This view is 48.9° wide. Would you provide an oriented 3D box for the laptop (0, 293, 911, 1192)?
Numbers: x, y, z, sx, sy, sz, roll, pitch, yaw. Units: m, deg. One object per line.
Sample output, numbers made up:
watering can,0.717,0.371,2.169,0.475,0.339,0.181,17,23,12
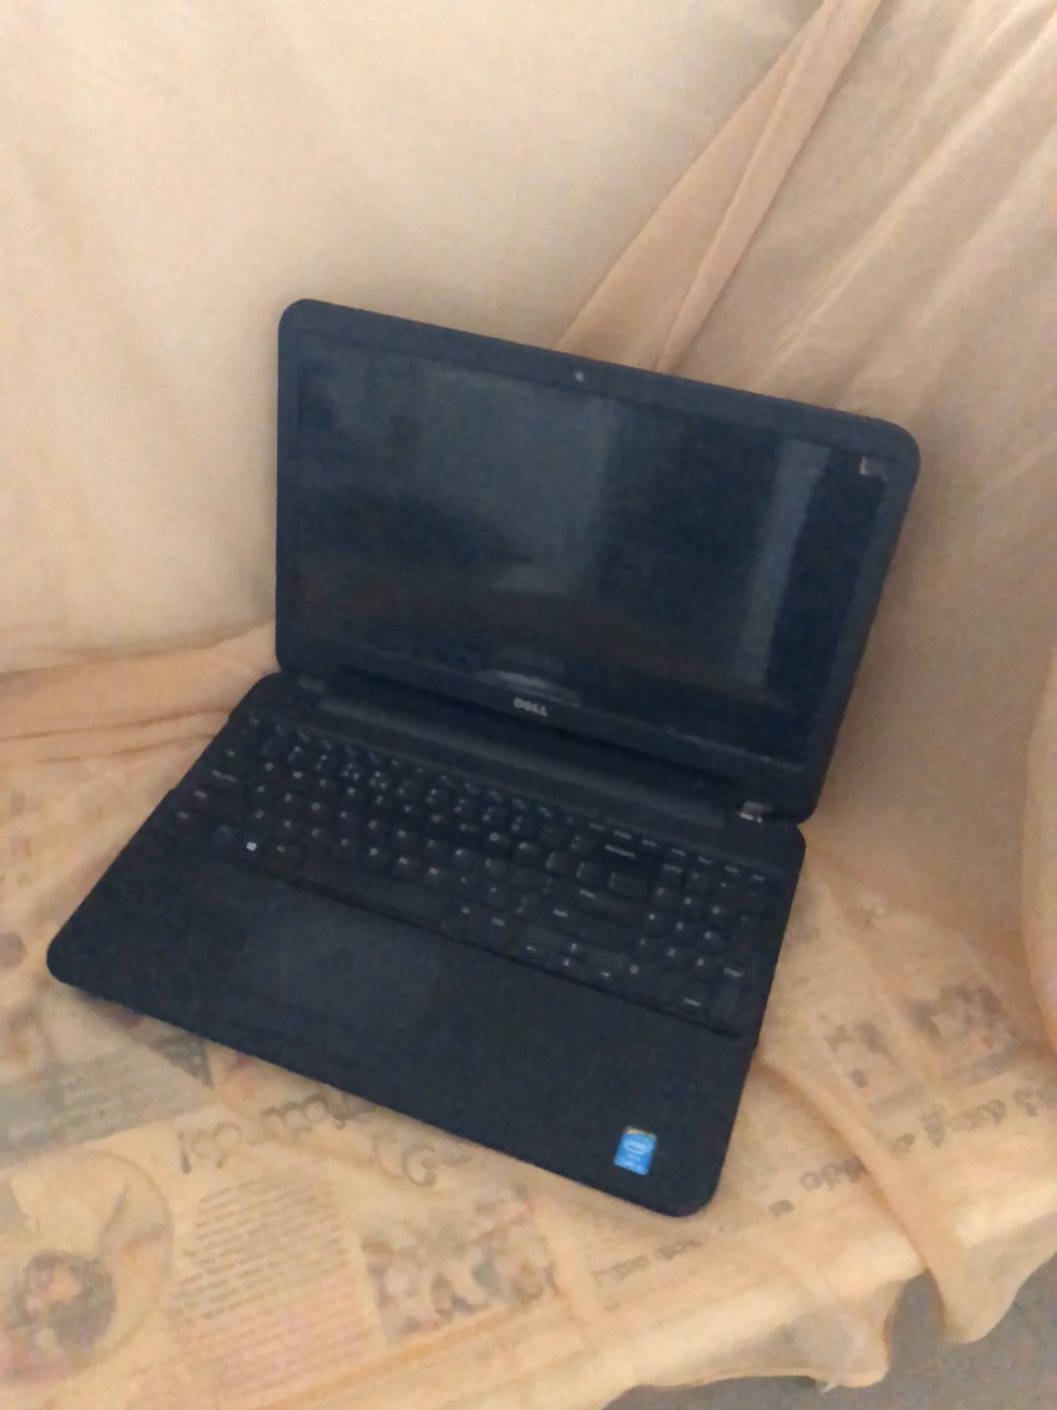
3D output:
laptop,-0.027,-0.007,0.604,0.348,0.225,0.307,16,45,14
